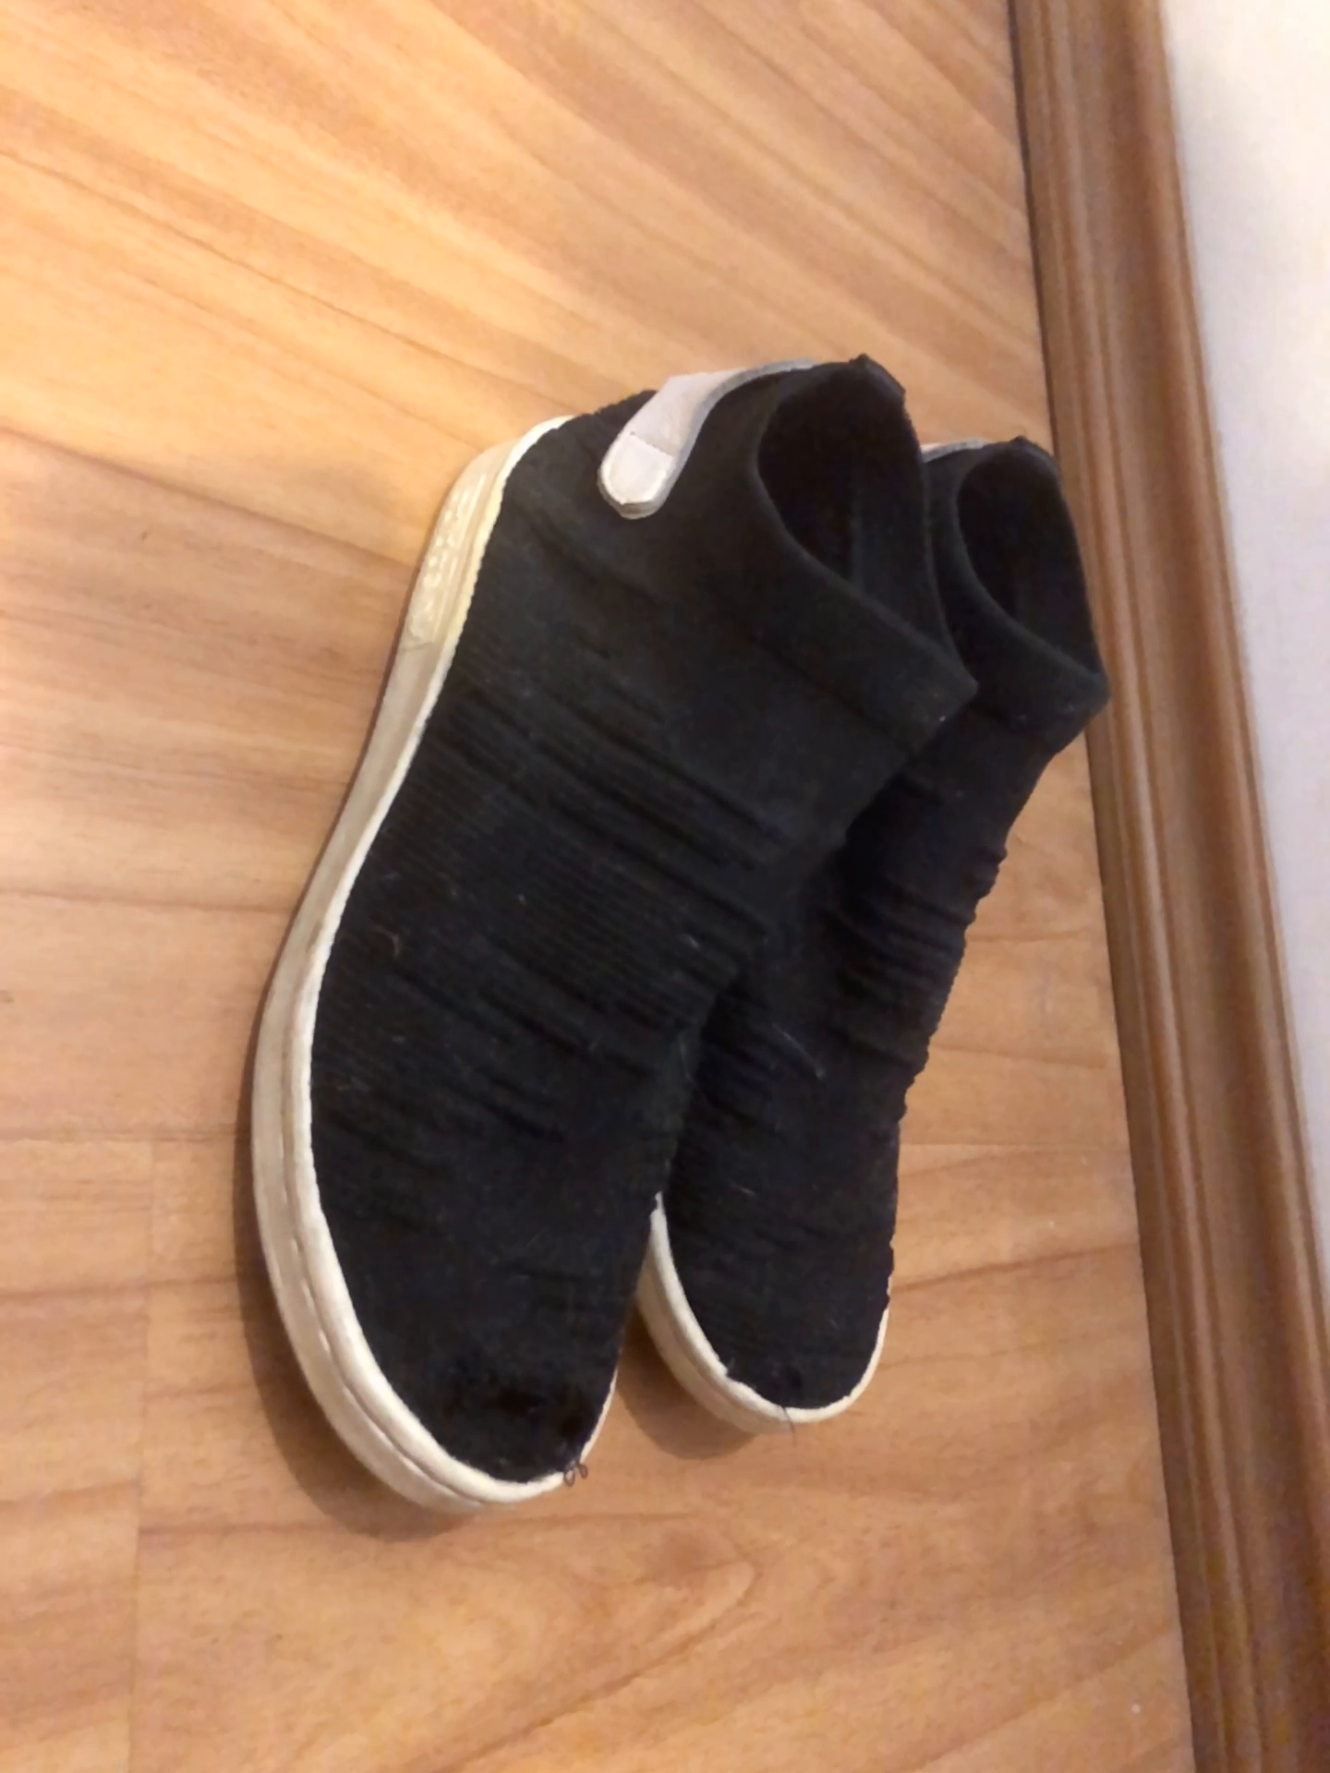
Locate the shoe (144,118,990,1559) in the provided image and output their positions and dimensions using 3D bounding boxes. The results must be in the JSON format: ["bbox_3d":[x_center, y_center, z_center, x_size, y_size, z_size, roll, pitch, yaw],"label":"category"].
[{"bbox_3d":[-0.008,-0.008,0.313,0.100,0.099,0.260,26,63,-39],"label":"shoe"}]

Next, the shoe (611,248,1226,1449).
[{"bbox_3d":[0.062,-0.003,0.373,0.101,0.099,0.260,16,69,-42],"label":"shoe"}]
